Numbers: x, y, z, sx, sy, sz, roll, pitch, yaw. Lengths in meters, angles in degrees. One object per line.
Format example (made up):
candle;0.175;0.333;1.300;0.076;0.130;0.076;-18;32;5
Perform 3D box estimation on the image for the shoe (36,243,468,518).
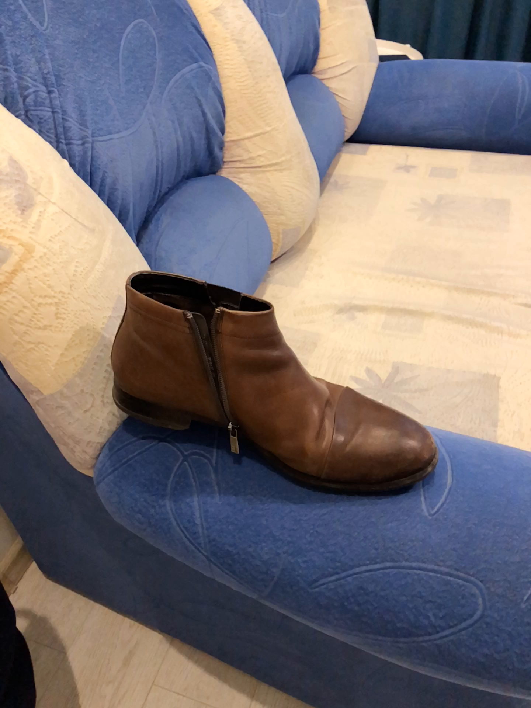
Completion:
shoe;-0.007;0.015;0.489;0.310;0.139;0.111;10;42;14
